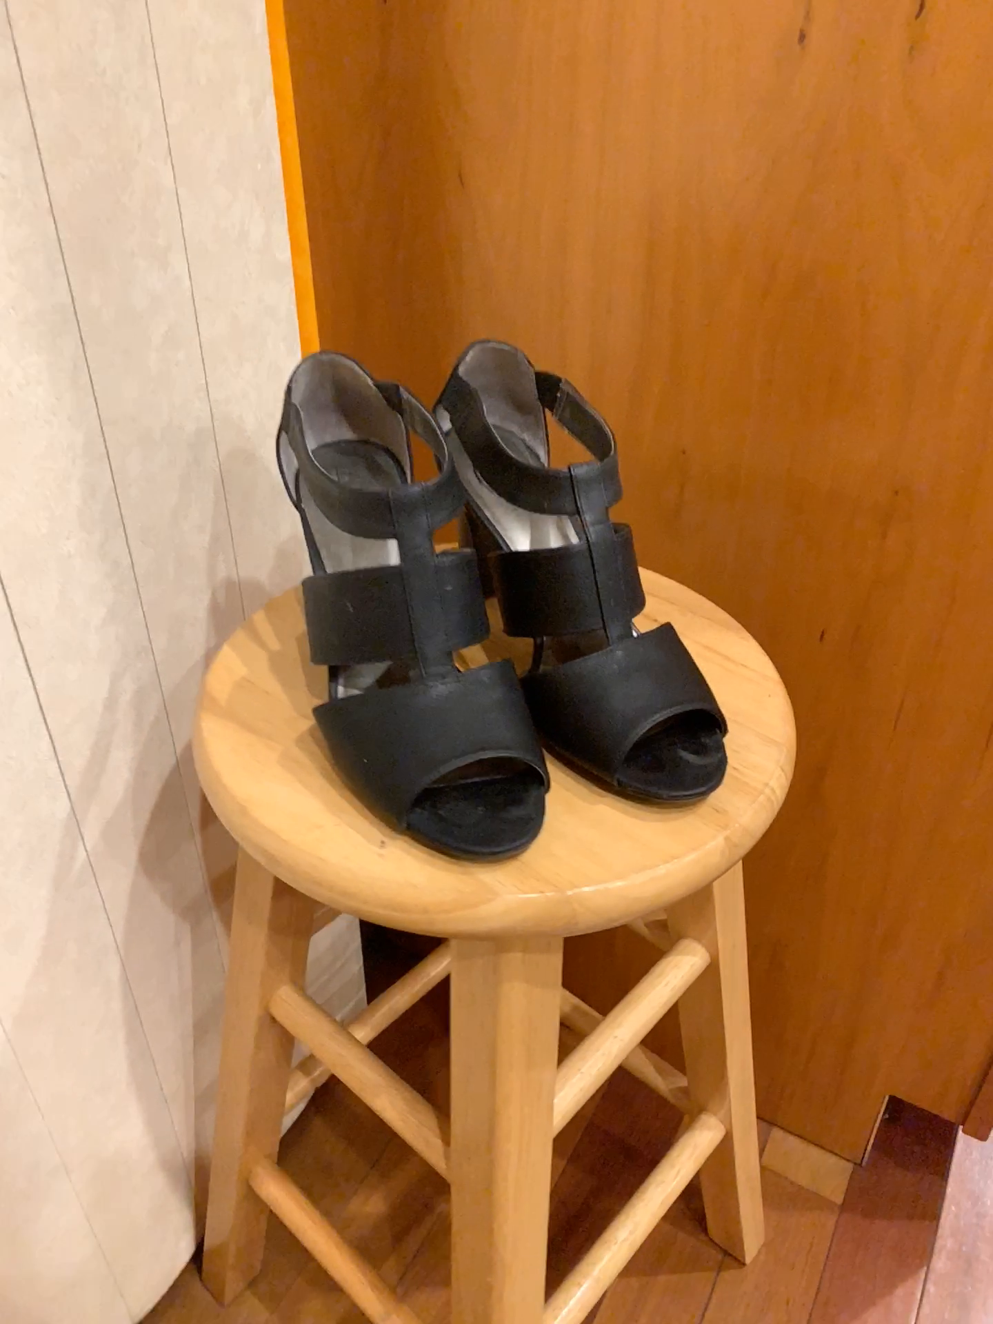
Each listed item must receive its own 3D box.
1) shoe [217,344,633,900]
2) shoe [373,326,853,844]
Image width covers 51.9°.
[{"bbox_3d":[-0.045,-0.037,0.453,0.090,0.125,0.245,-14,38,-19],"label":"shoe"},{"bbox_3d":[0.034,-0.053,0.479,0.100,0.130,0.234,-15,38,-21],"label":"shoe"}]
